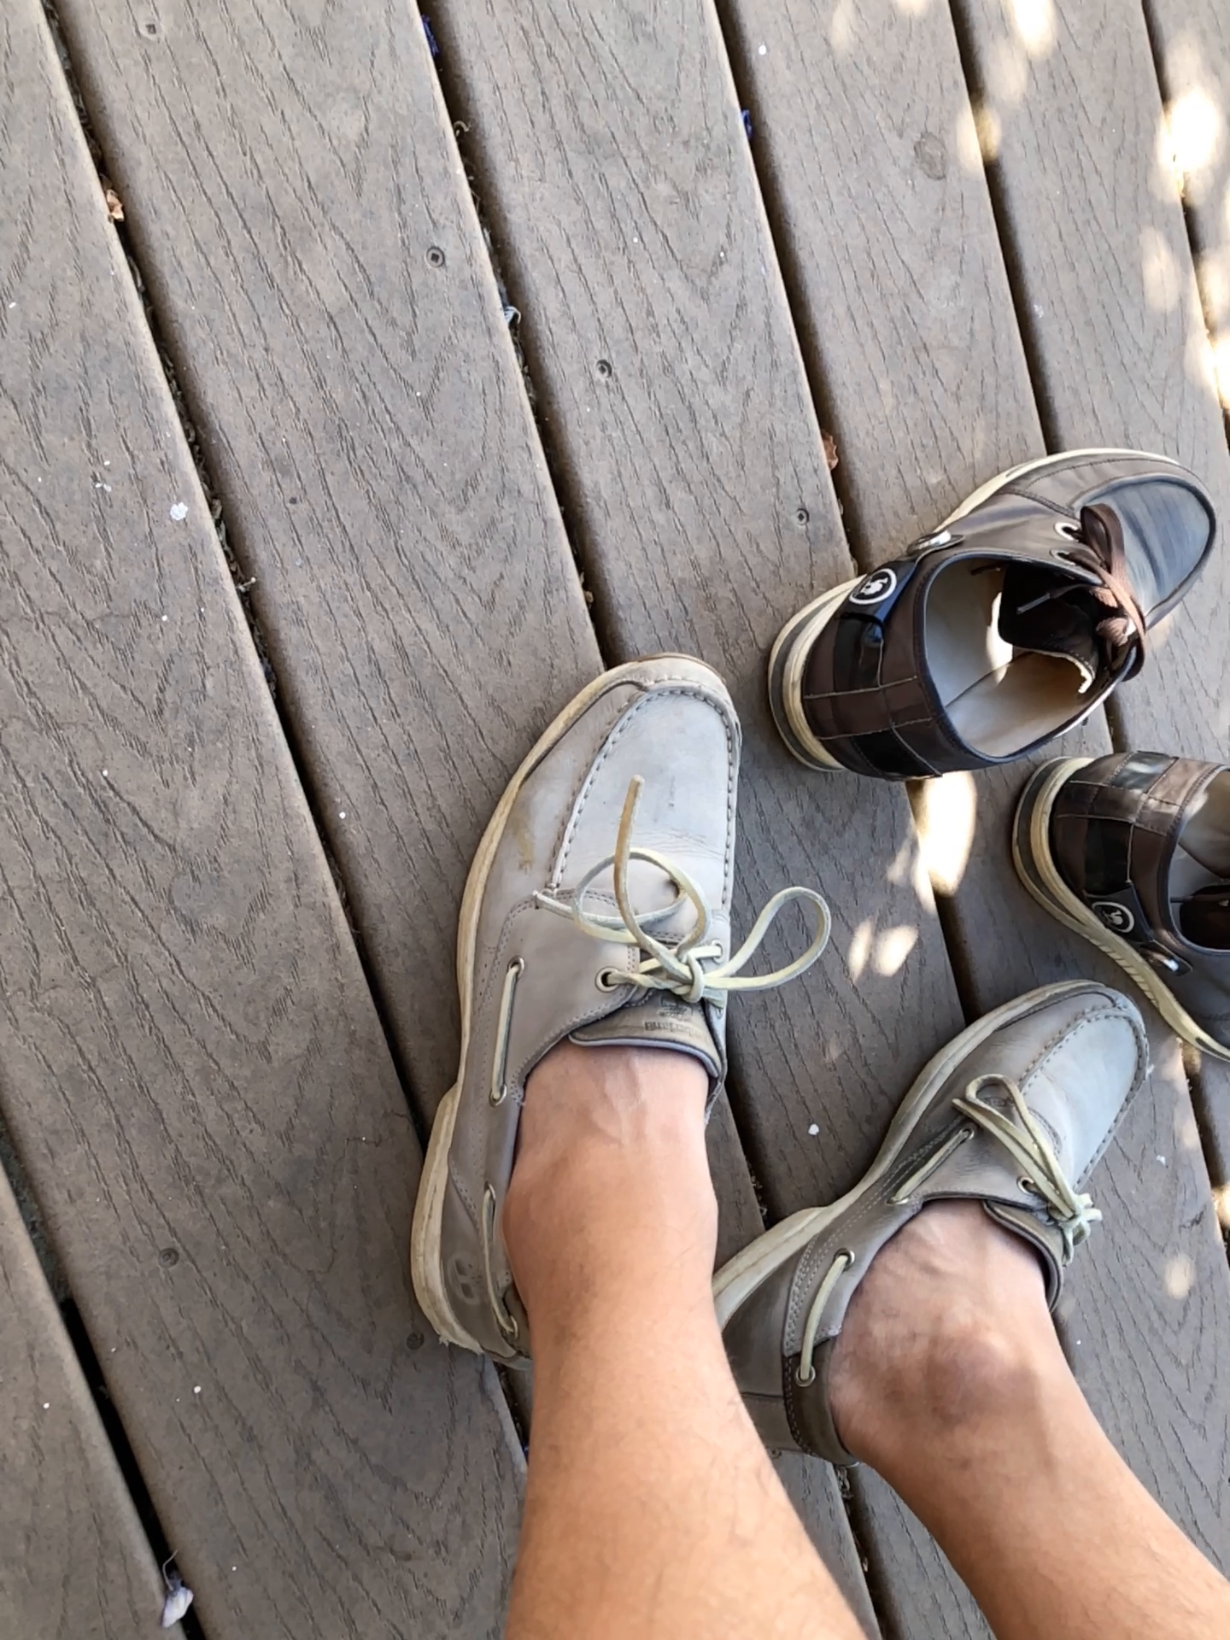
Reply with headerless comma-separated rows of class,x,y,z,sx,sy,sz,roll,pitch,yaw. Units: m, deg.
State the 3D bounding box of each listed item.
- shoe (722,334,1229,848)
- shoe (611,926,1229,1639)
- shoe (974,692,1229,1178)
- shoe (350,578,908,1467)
shoe,0.215,-0.110,0.633,0.304,0.111,0.110,-30,106,-24
shoe,0.162,0.190,0.621,0.304,0.111,0.110,-39,109,-22
shoe,0.346,0.064,0.708,0.304,0.111,0.110,33,77,-25
shoe,0.004,0.074,0.532,0.110,0.111,0.303,17,84,-28
